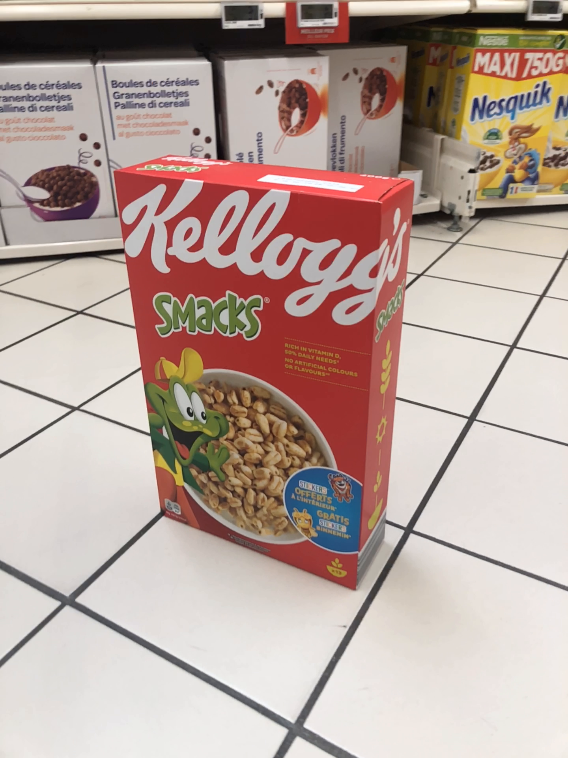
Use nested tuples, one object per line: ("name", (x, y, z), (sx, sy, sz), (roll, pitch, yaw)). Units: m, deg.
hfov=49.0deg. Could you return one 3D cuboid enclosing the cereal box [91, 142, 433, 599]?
("cereal box", (-0.013, -0.005, 0.464), (0.200, 0.298, 0.081), (14, 33, 24))
